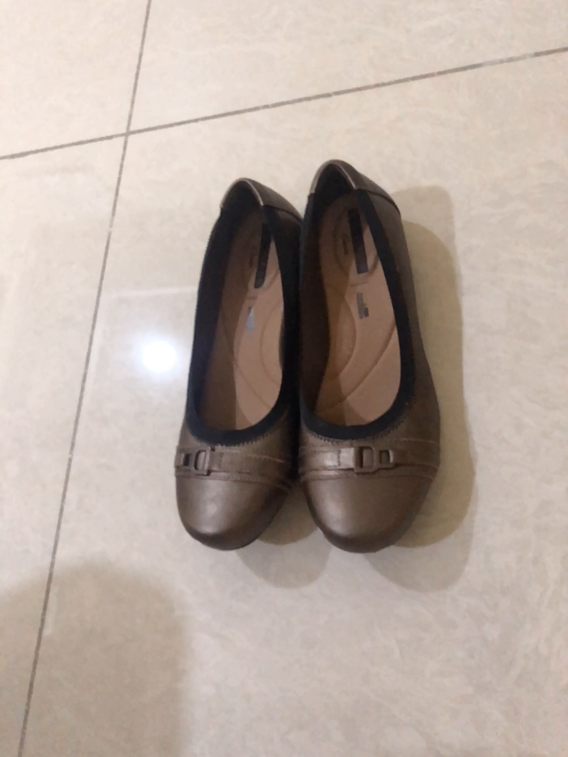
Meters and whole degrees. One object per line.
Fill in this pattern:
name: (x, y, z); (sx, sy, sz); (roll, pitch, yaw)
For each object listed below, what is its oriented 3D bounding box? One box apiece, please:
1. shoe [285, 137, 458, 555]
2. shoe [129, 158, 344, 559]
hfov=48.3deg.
shoe: (0.056, -0.020, 0.418); (0.090, 0.070, 0.260); (-5, 70, 18)
shoe: (-0.026, -0.020, 0.446); (0.100, 0.050, 0.270); (1, 72, 20)
